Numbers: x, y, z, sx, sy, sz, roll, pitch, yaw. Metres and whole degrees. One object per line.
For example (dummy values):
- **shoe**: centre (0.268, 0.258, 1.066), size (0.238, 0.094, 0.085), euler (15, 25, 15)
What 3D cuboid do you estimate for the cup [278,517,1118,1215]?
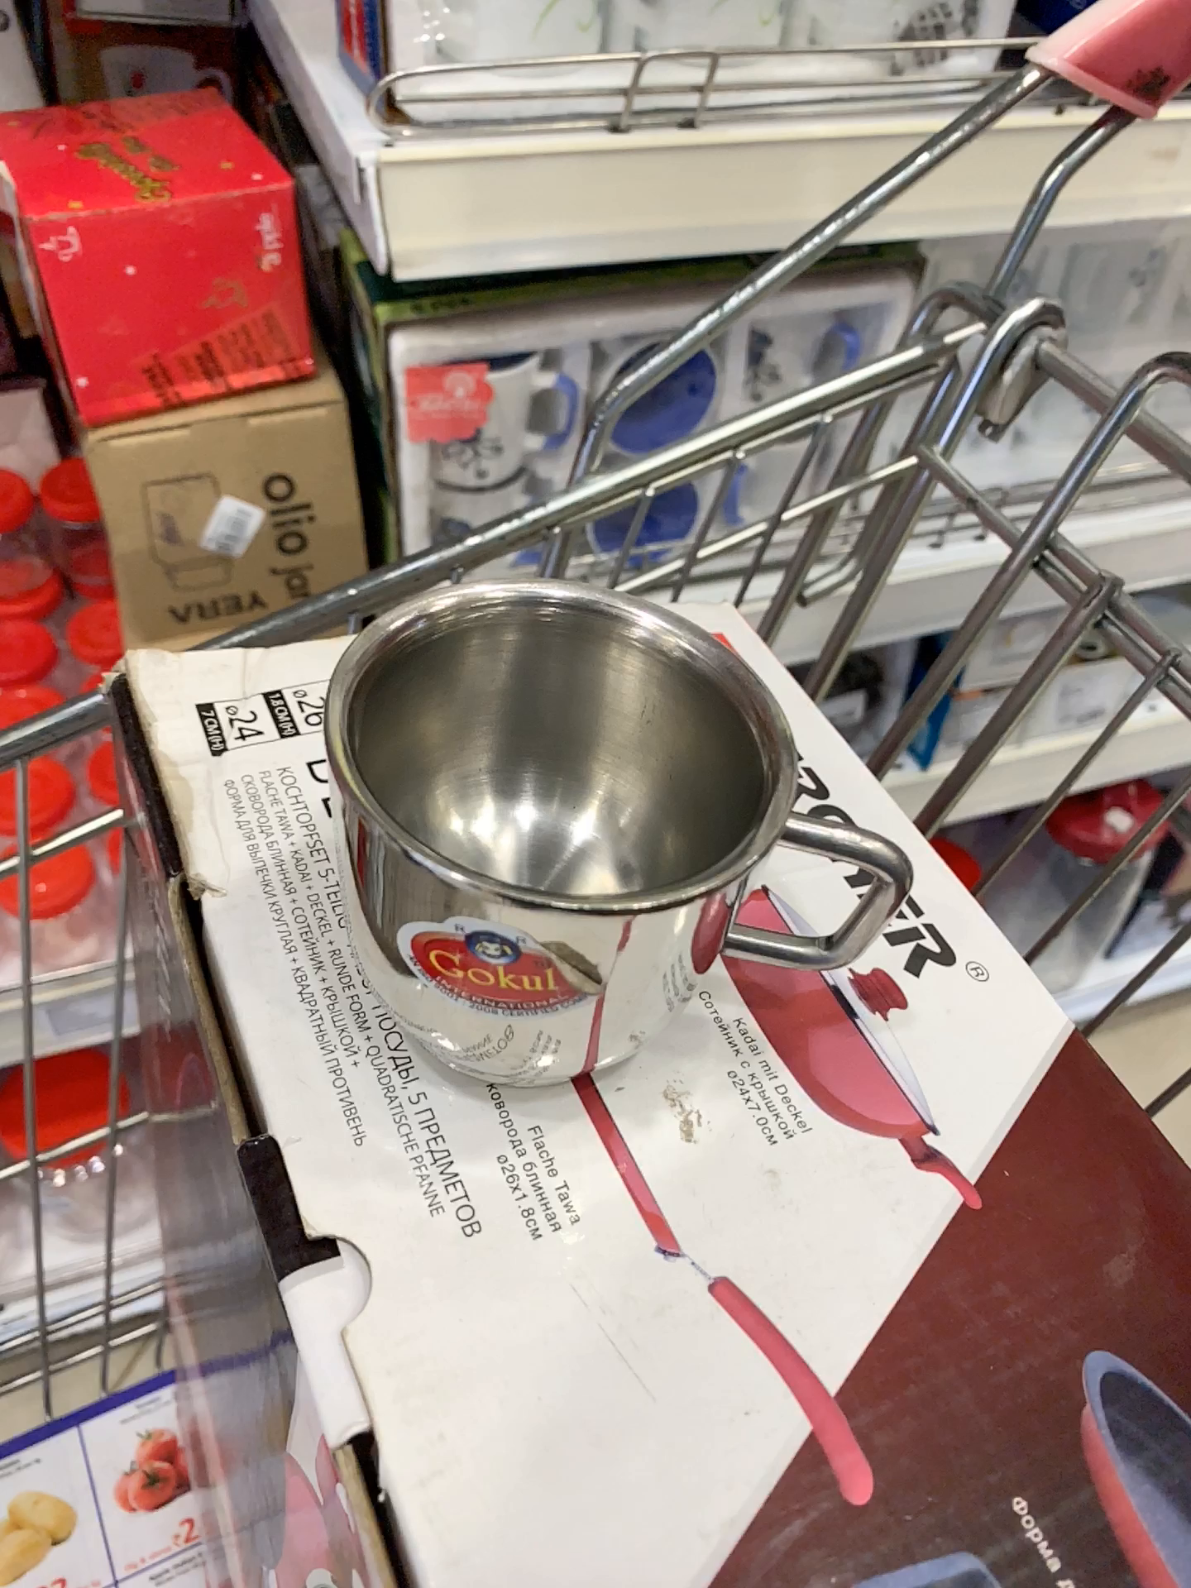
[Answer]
- **cup**: centre (0.014, 0.008, 0.169), size (0.090, 0.050, 0.060), euler (12, 49, 5)
